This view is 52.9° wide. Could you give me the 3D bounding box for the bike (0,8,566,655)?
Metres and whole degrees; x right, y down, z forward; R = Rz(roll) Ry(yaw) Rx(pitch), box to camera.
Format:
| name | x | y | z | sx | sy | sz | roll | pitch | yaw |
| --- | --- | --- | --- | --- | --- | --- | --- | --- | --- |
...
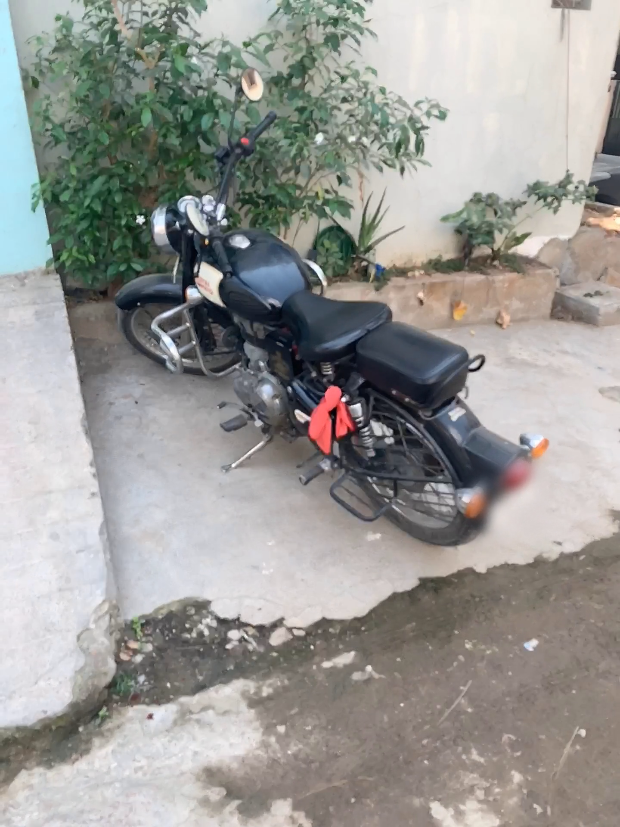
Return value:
| name | x | y | z | sx | sy | sz | roll | pitch | yaw |
| --- | --- | --- | --- | --- | --- | --- | --- | --- | --- |
| bike | -0.256 | -0.427 | 2.147 | 1.790 | 1.339 | 0.748 | 27 | 37 | 30 |
